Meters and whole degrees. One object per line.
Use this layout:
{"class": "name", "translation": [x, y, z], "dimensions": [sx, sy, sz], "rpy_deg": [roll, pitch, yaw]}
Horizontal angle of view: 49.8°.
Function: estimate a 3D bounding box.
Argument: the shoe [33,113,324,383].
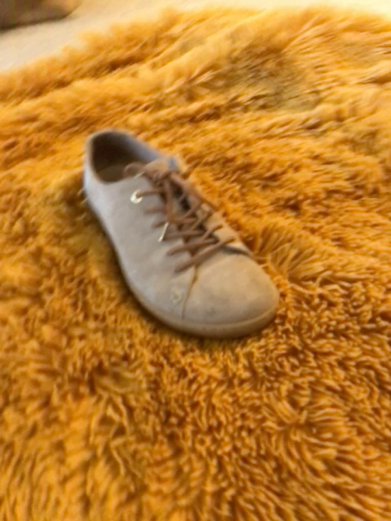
{"class": "shoe", "translation": [-0.032, -0.034, 0.357], "dimensions": [0.100, 0.070, 0.259], "rpy_deg": [-27, 49, -26]}
